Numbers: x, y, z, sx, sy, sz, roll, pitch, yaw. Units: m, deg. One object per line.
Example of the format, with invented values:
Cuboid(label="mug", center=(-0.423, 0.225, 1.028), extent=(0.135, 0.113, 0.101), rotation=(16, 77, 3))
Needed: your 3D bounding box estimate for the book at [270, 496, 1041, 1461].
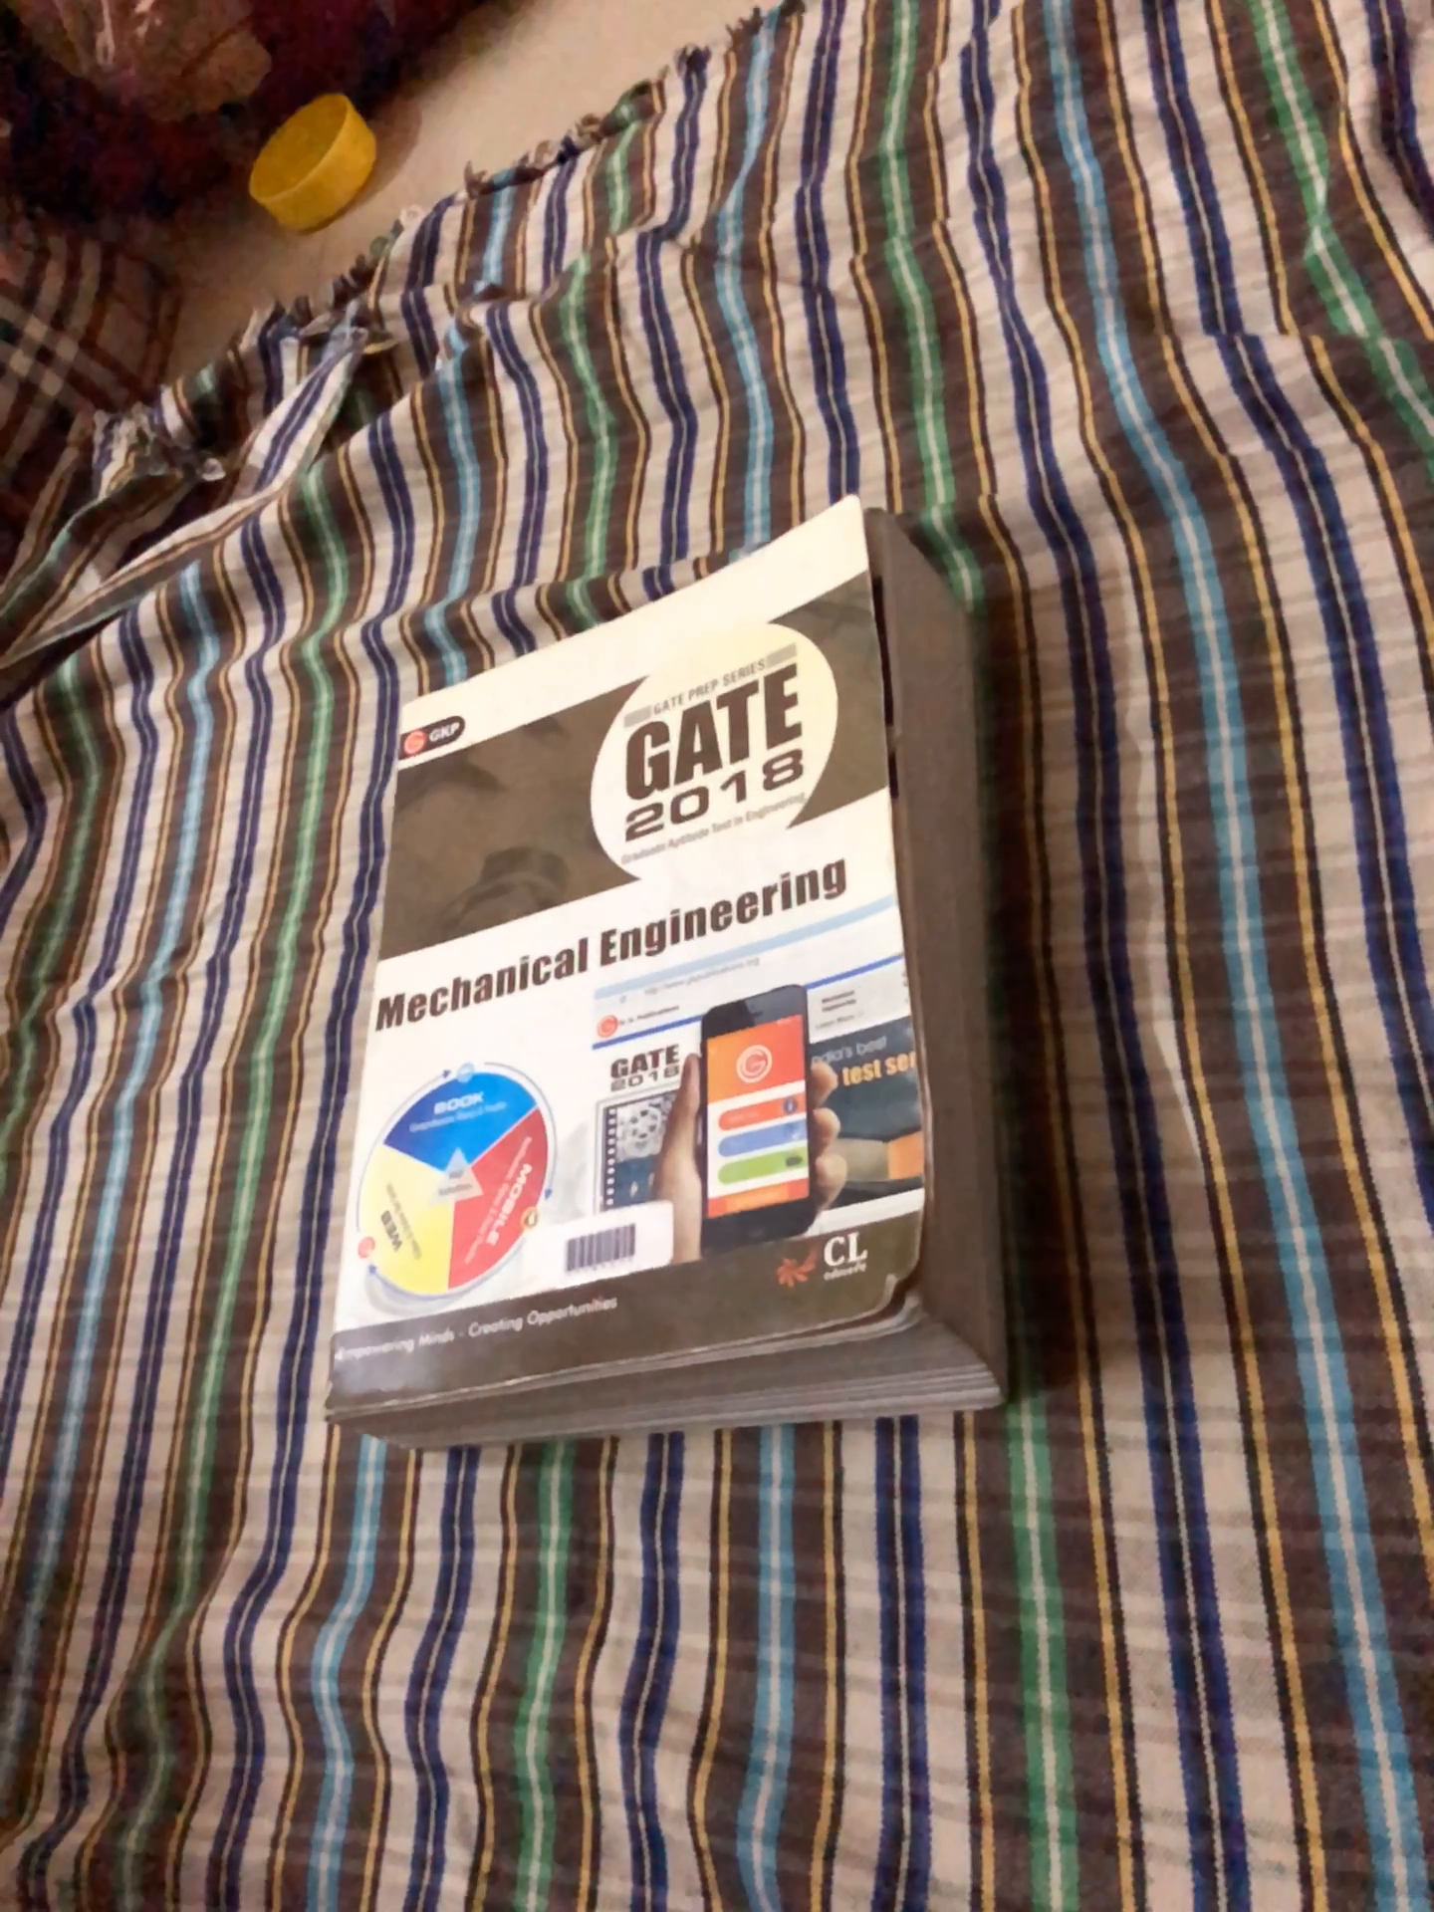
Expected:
Cuboid(label="book", center=(-0.021, 0.011, 0.515), extent=(0.211, 0.075, 0.264), rotation=(-15, 58, 26))
